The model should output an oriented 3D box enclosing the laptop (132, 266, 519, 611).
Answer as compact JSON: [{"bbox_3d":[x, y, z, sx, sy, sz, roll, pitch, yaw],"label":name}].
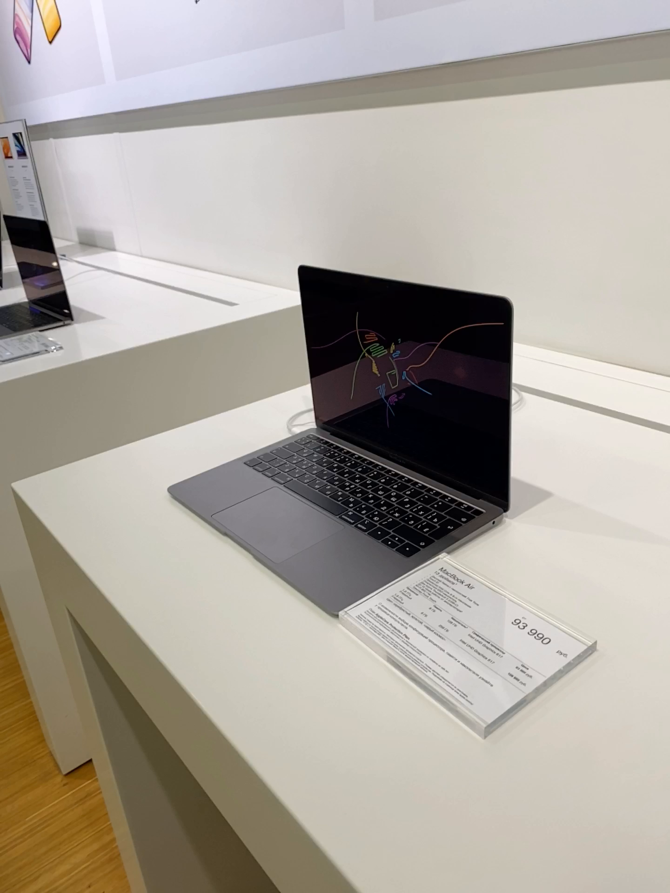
[{"bbox_3d":[-0.015,-0.041,0.679,0.225,0.211,0.303,-21,29,-34],"label":"laptop"}]
